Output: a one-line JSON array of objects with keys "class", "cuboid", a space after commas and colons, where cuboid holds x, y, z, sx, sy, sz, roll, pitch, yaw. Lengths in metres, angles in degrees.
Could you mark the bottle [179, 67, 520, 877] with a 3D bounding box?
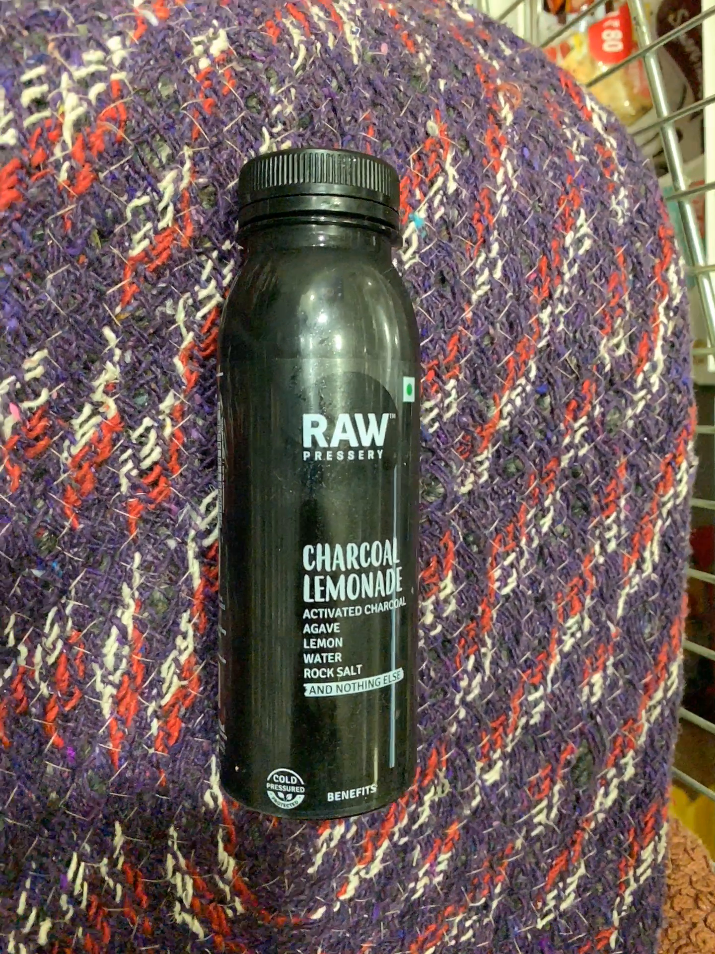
[{"class": "bottle", "cuboid": [-0.006, 0.001, 0.181, 0.060, 0.050, 0.160, 0, 98, -25]}]
